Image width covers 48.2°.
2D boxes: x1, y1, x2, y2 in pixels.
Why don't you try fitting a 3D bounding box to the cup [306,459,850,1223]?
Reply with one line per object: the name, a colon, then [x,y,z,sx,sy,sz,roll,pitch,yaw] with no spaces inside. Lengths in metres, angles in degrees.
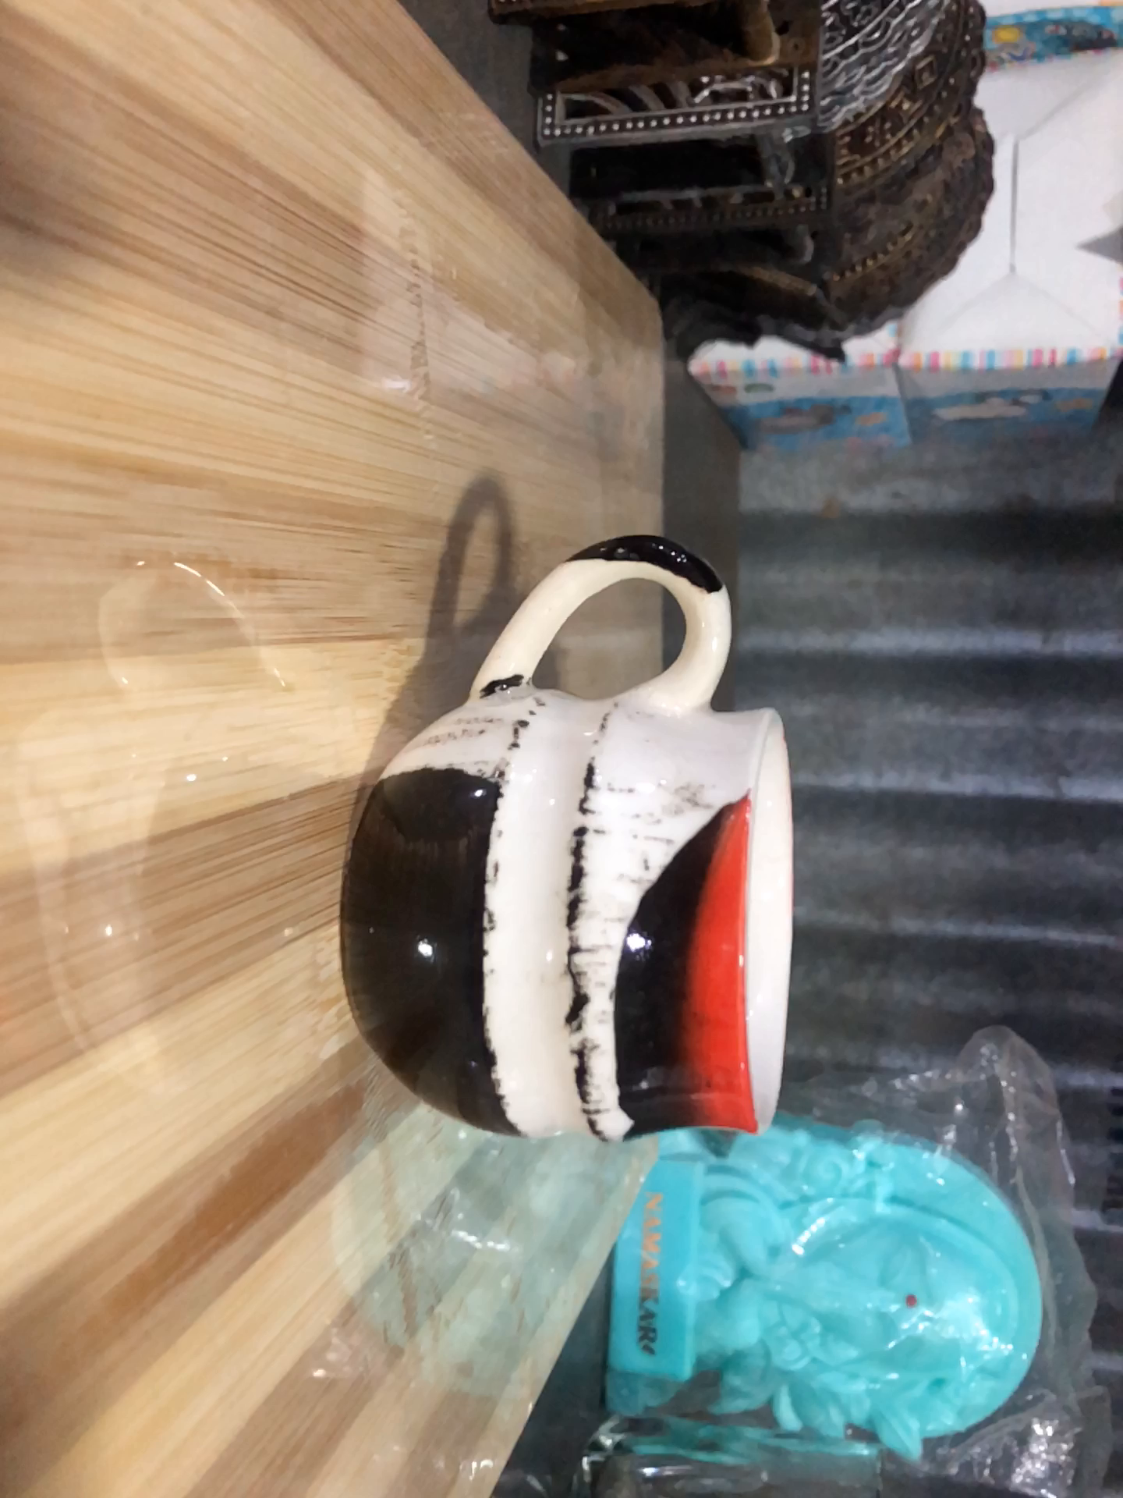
cup: [0.011,0.014,0.193,0.080,0.060,0.090,35,58,-73]
